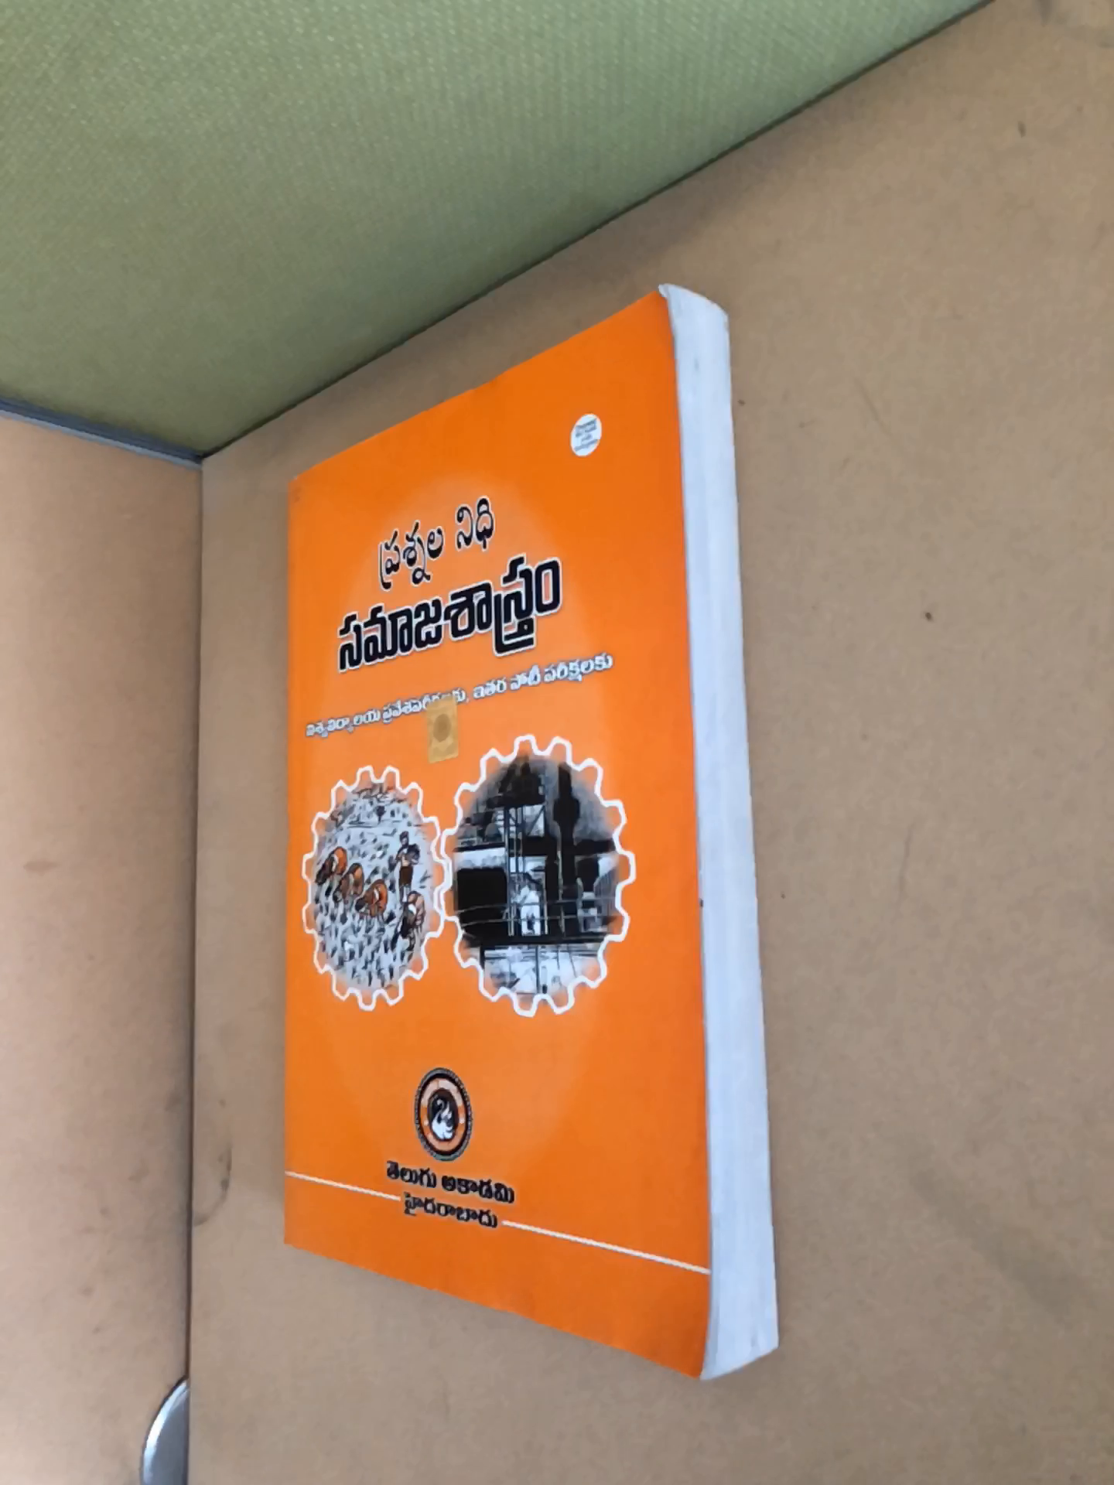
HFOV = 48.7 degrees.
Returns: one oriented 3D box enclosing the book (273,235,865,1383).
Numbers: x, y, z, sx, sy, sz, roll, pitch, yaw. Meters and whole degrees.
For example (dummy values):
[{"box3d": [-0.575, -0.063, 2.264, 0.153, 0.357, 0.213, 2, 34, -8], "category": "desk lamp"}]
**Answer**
[{"box3d": [-0.013, 0.022, 0.402, 0.211, 0.050, 0.290, -10, 77, 46], "category": "book"}]
